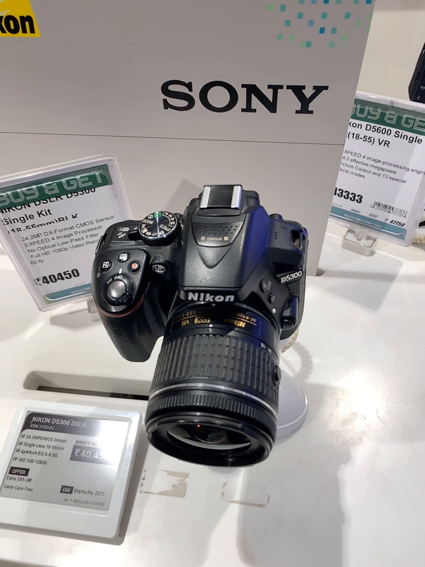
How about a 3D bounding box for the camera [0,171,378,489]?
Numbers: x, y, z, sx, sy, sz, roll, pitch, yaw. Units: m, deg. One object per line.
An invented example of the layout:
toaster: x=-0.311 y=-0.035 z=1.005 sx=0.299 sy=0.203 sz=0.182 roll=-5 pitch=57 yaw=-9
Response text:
camera: x=-0.009 y=0.014 z=0.208 sx=0.130 sy=0.070 sz=0.130 roll=1 pitch=48 yaw=4
